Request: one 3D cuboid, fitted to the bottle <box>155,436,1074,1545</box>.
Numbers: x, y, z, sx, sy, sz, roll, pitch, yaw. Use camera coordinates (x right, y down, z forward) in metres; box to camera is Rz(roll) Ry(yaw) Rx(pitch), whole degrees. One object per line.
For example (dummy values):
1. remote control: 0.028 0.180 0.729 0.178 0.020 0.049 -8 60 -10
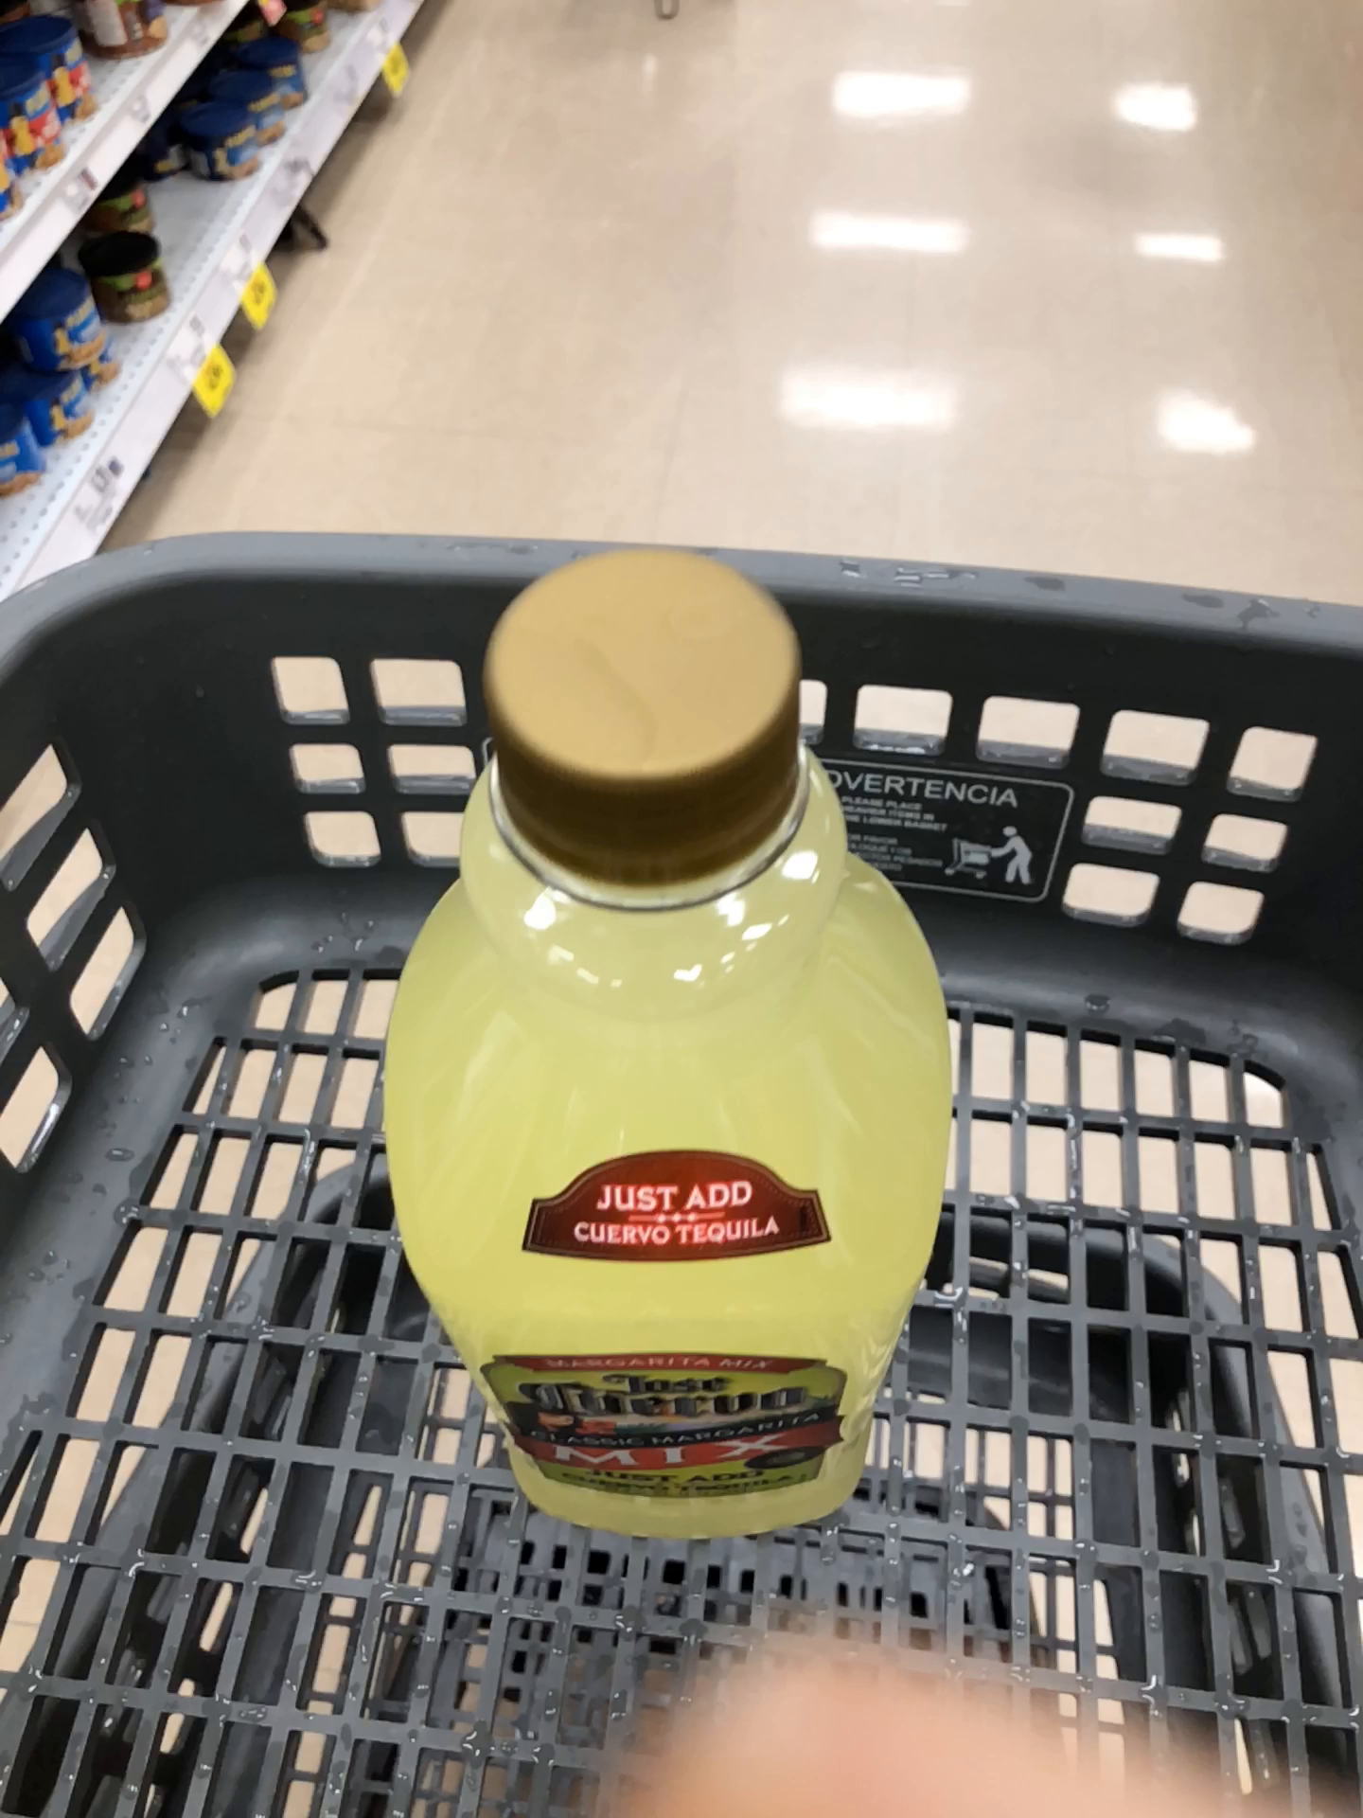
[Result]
1. bottle: -0.006 0.047 0.315 0.110 0.280 0.080 0 51 1
